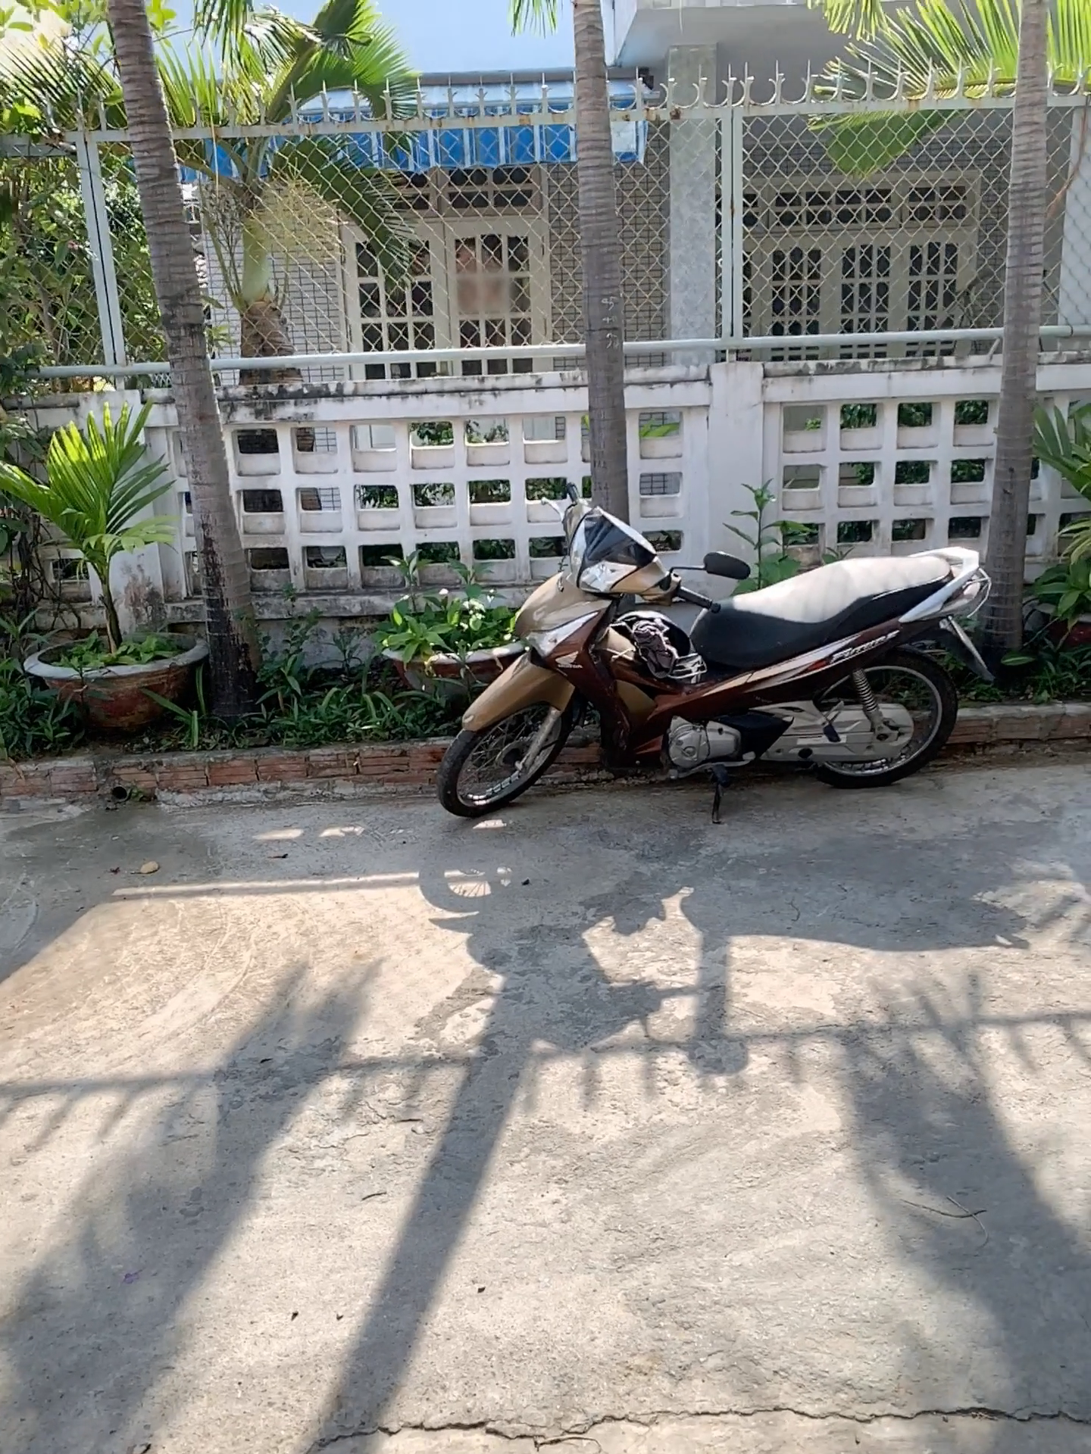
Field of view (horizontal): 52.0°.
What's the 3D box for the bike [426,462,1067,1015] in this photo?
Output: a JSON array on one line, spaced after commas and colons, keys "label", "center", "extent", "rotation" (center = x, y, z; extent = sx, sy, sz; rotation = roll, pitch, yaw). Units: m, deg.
[{"label": "bike", "center": [0.638, -0.049, 3.664], "extent": [1.975, 1.443, 0.614], "rotation": [-7, 16, -14]}]
